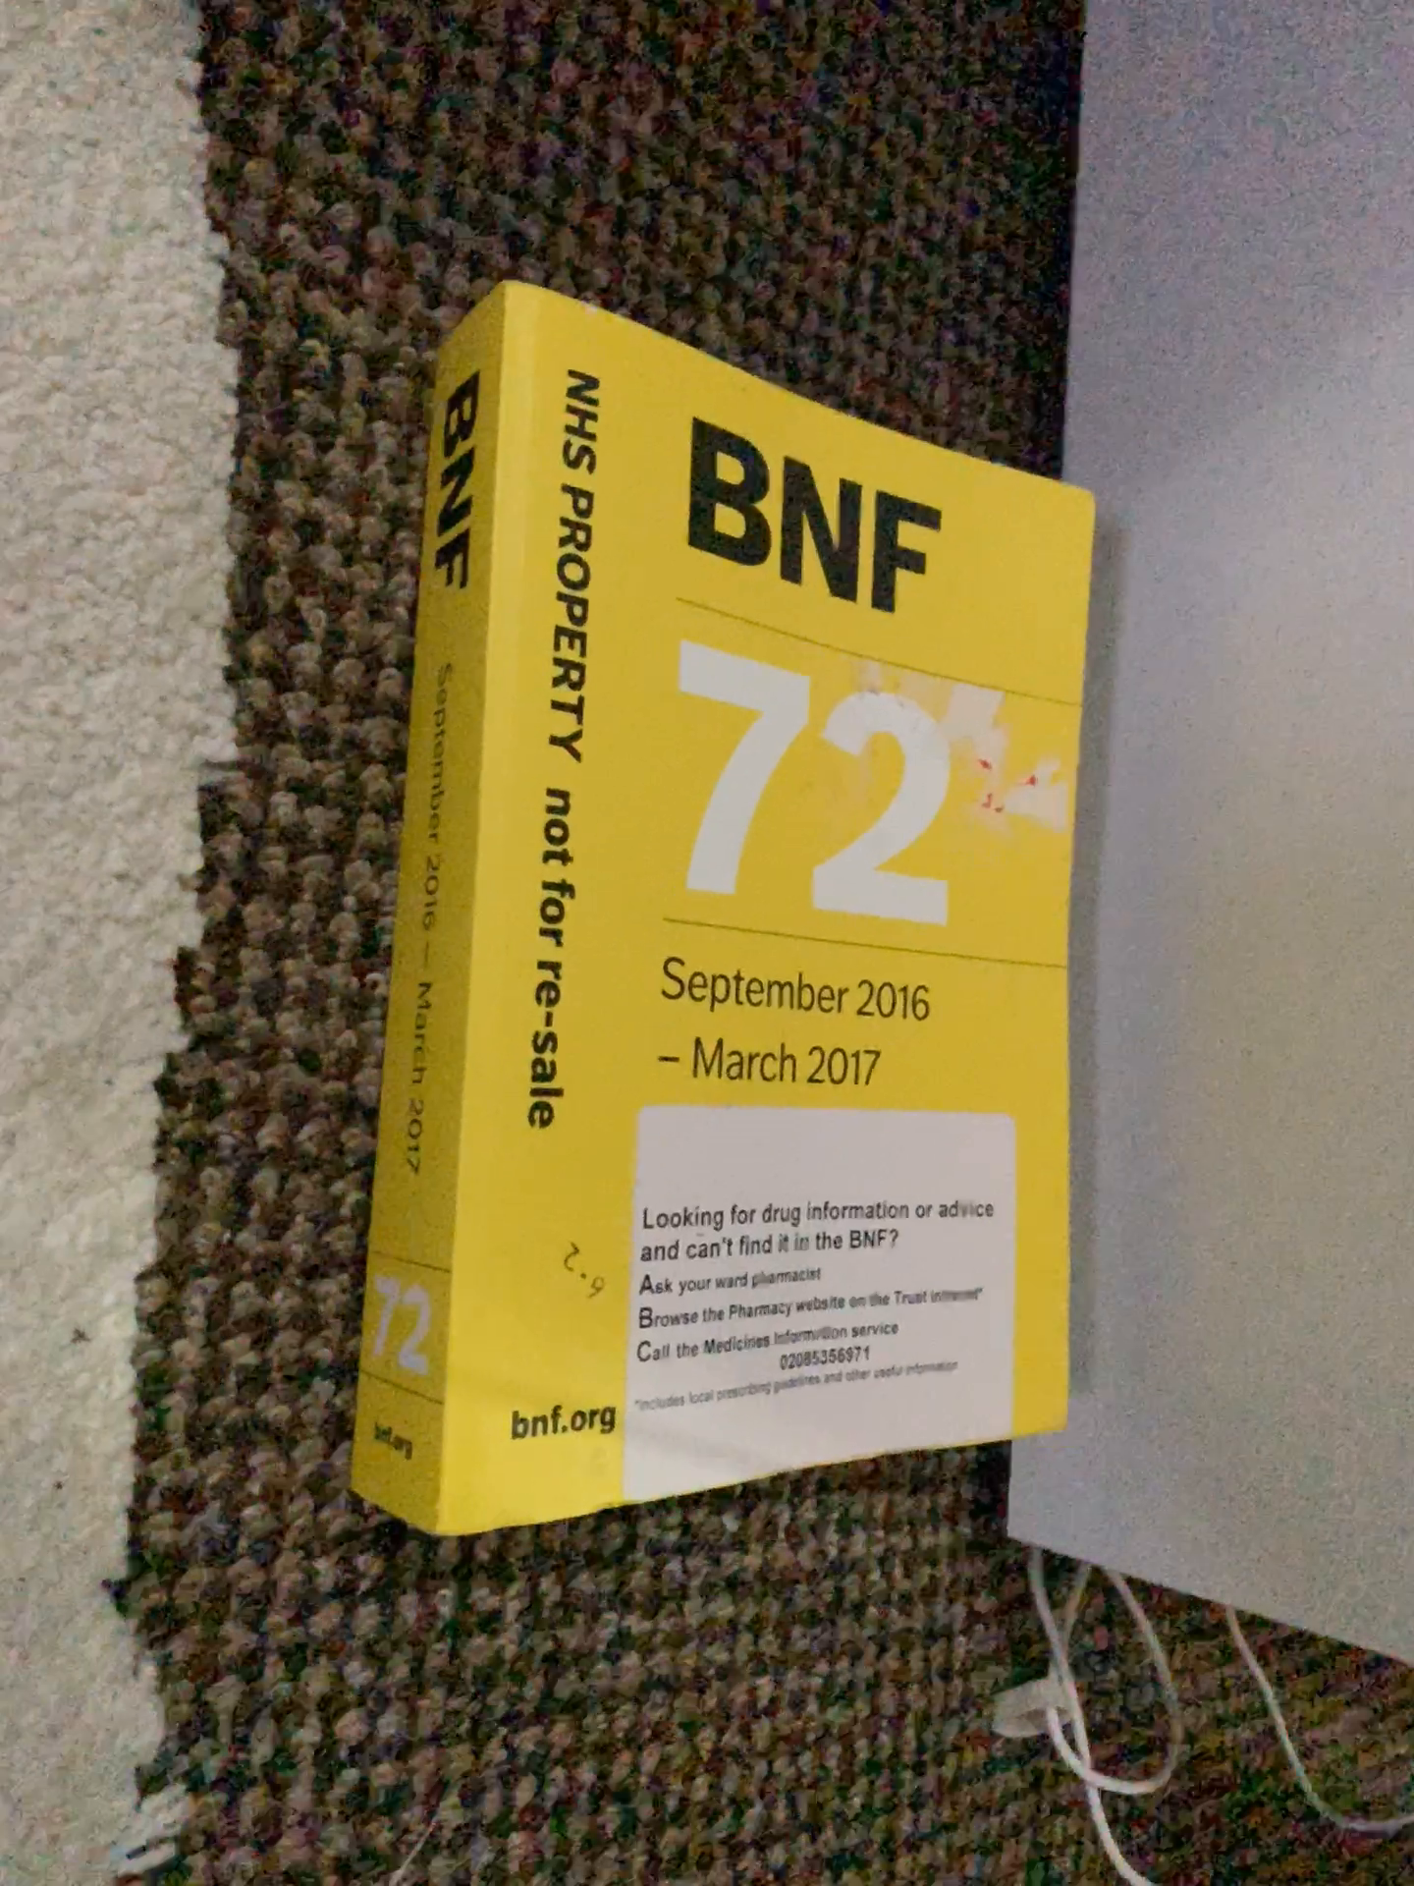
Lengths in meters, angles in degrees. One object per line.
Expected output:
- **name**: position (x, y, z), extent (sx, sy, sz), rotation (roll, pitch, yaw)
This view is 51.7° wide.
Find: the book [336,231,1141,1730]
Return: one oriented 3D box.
- **book**: position (0.018, 0.008, 0.286), extent (0.161, 0.050, 0.220), rotation (6, 84, -42)
